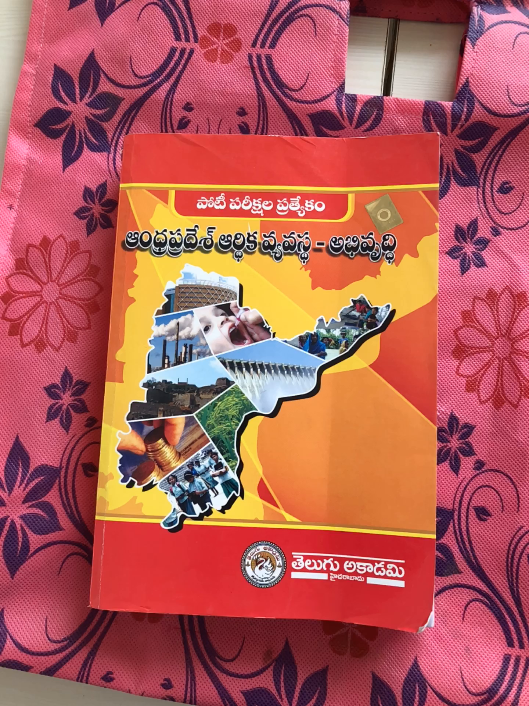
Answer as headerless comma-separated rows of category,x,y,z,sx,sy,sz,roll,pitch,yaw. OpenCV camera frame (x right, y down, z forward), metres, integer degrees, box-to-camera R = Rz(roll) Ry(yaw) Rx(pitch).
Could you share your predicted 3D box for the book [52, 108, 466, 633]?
book,0.000,0.005,0.330,0.200,0.060,0.260,3,86,2
